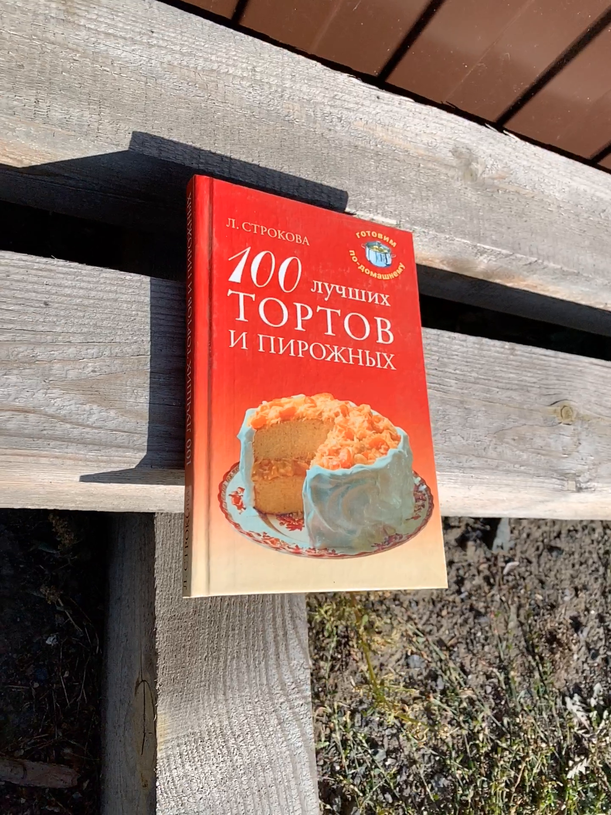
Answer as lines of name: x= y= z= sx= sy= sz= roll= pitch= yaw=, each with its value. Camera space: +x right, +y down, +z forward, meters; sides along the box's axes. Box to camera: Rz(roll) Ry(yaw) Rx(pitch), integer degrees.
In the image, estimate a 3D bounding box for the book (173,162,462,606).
book: x=0.005 y=-0.014 z=0.328 sx=0.143 sy=0.017 sz=0.218 roll=6 pitch=69 yaw=-26
